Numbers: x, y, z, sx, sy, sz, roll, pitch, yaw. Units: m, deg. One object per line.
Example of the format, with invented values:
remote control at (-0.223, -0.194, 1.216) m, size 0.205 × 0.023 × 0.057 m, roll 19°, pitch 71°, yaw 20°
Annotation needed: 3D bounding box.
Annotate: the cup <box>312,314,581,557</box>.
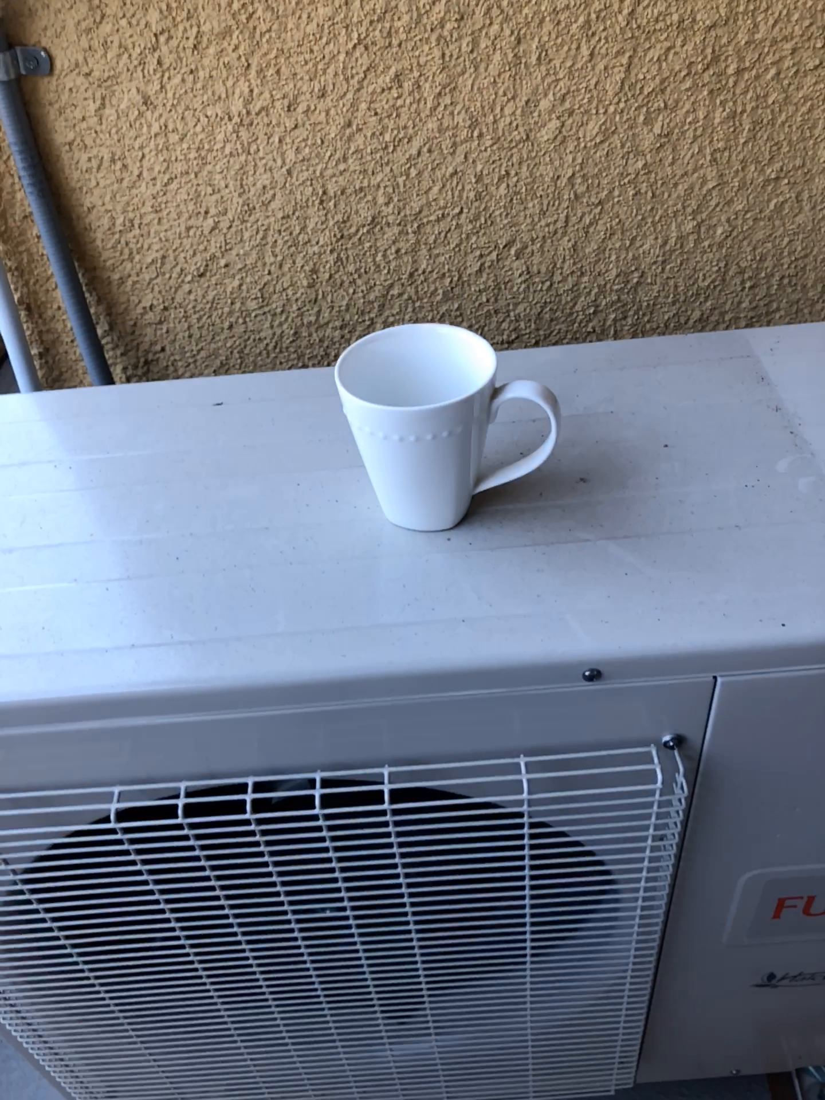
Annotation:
cup at (0.026, -0.071, 0.552) m, size 0.140 × 0.099 × 0.100 m, roll 4°, pitch 42°, yaw 9°
